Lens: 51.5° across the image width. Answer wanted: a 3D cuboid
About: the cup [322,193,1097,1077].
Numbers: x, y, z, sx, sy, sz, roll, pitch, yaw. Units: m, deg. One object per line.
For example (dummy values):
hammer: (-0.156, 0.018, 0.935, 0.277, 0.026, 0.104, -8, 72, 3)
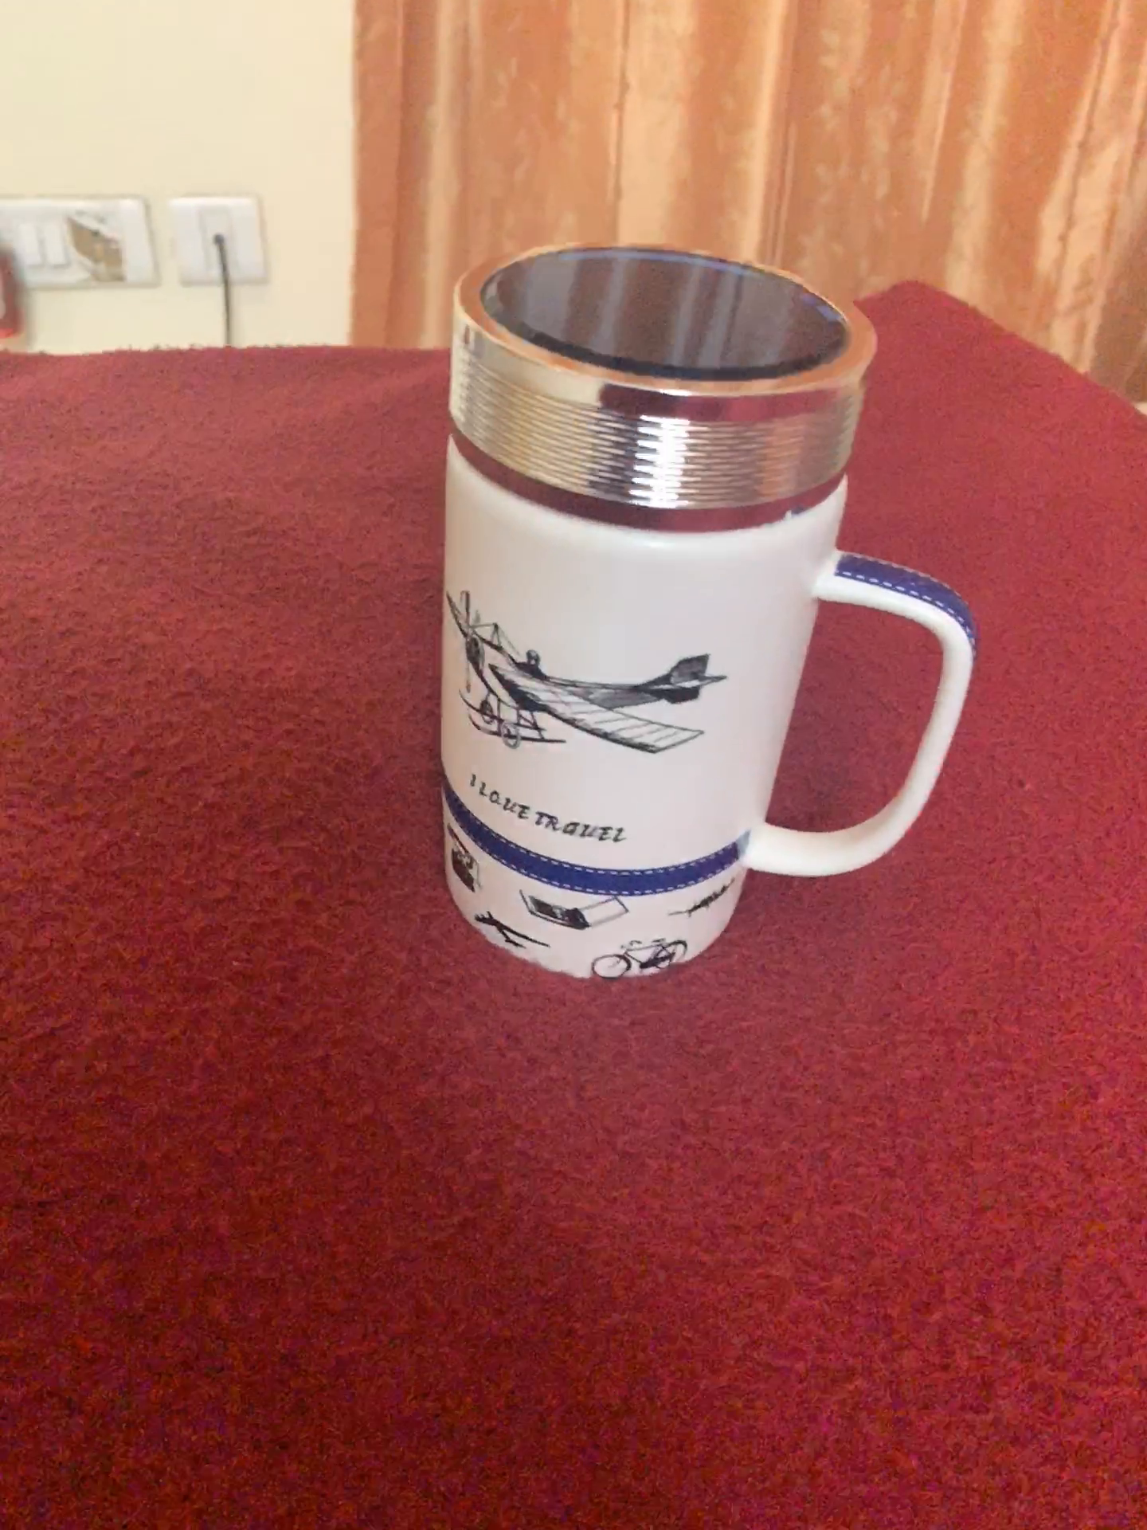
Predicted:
cup: (0.025, -0.030, 0.260, 0.120, 0.139, 0.091, 18, 41, 15)
